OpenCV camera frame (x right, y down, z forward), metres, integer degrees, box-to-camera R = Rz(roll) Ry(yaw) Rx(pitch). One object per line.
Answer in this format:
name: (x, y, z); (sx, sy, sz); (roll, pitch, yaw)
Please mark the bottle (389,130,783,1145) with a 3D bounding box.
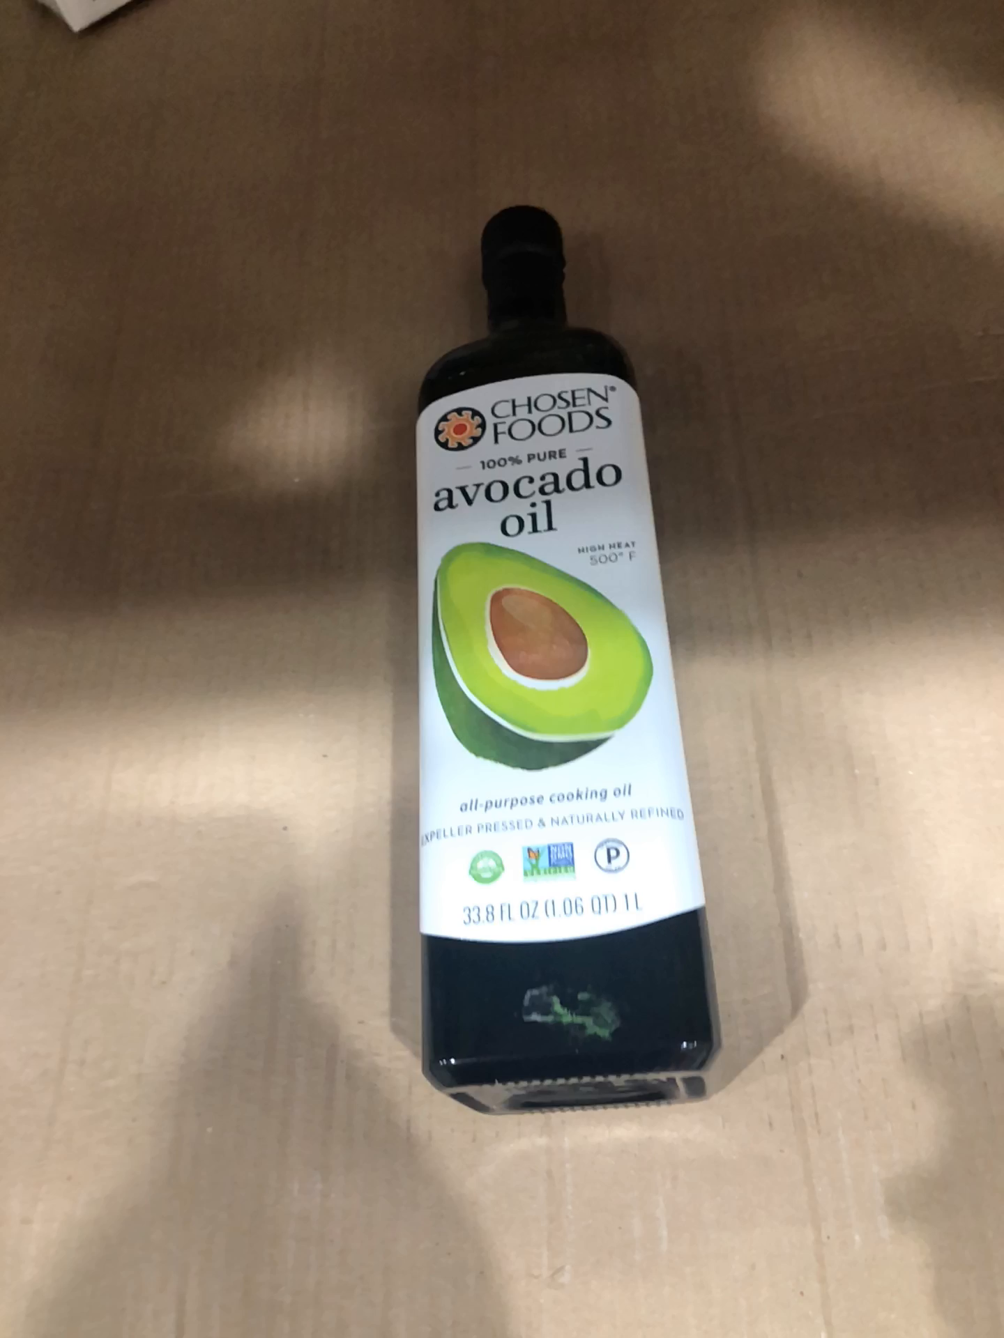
bottle: (0.016, -0.028, 0.353); (0.086, 0.074, 0.320); (-6, 61, 6)
